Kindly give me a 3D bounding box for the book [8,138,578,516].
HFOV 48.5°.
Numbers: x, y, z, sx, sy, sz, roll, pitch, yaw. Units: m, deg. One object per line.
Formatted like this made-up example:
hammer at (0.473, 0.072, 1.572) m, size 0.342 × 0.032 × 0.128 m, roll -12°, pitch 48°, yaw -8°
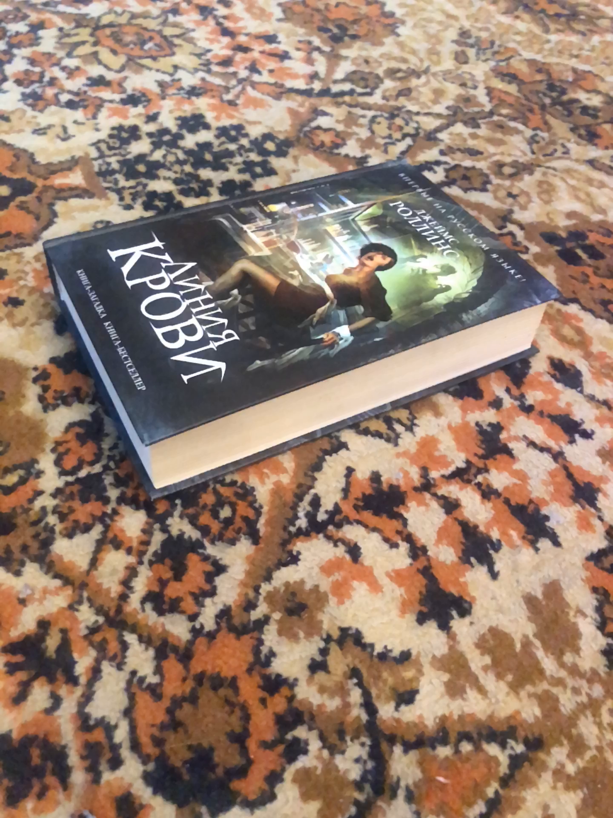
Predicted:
book at (-0.009, -0.061, 0.342) m, size 0.226 × 0.040 × 0.160 m, roll -20°, pitch 53°, yaw -21°
